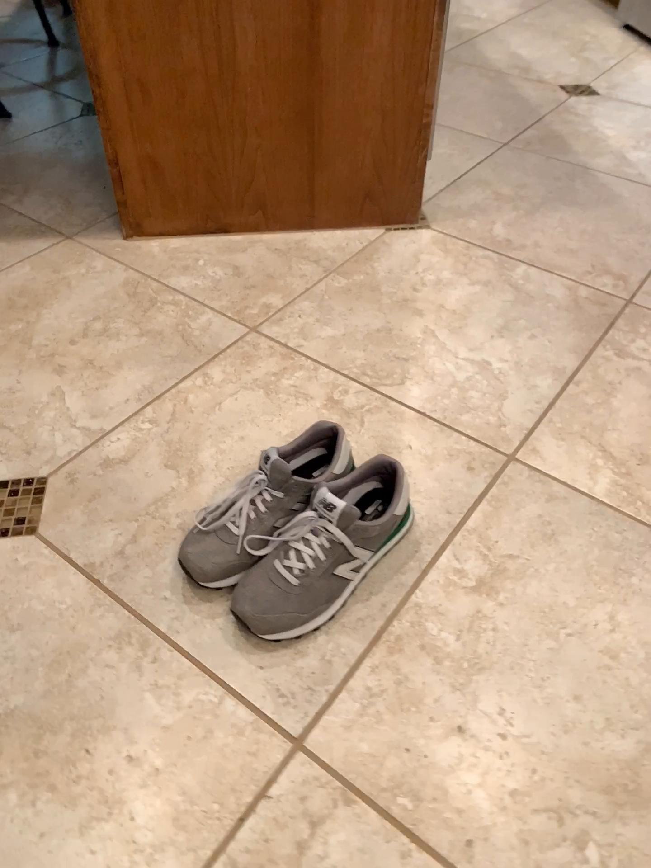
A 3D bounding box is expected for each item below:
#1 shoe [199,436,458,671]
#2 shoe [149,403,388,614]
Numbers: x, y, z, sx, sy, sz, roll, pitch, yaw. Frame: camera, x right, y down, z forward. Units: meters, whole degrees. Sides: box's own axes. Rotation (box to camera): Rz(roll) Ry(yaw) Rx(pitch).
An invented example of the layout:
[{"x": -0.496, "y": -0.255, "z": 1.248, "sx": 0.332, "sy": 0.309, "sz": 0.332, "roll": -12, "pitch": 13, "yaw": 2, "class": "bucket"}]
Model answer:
[{"x": 0.009, "y": 0.133, "z": 0.797, "sx": 0.284, "sy": 0.103, "sz": 0.116, "roll": -29, "pitch": 53, "yaw": -26, "class": "shoe"}, {"x": -0.065, "y": 0.086, "z": 0.849, "sx": 0.274, "sy": 0.103, "sz": 0.116, "roll": -29, "pitch": 53, "yaw": -26, "class": "shoe"}]
